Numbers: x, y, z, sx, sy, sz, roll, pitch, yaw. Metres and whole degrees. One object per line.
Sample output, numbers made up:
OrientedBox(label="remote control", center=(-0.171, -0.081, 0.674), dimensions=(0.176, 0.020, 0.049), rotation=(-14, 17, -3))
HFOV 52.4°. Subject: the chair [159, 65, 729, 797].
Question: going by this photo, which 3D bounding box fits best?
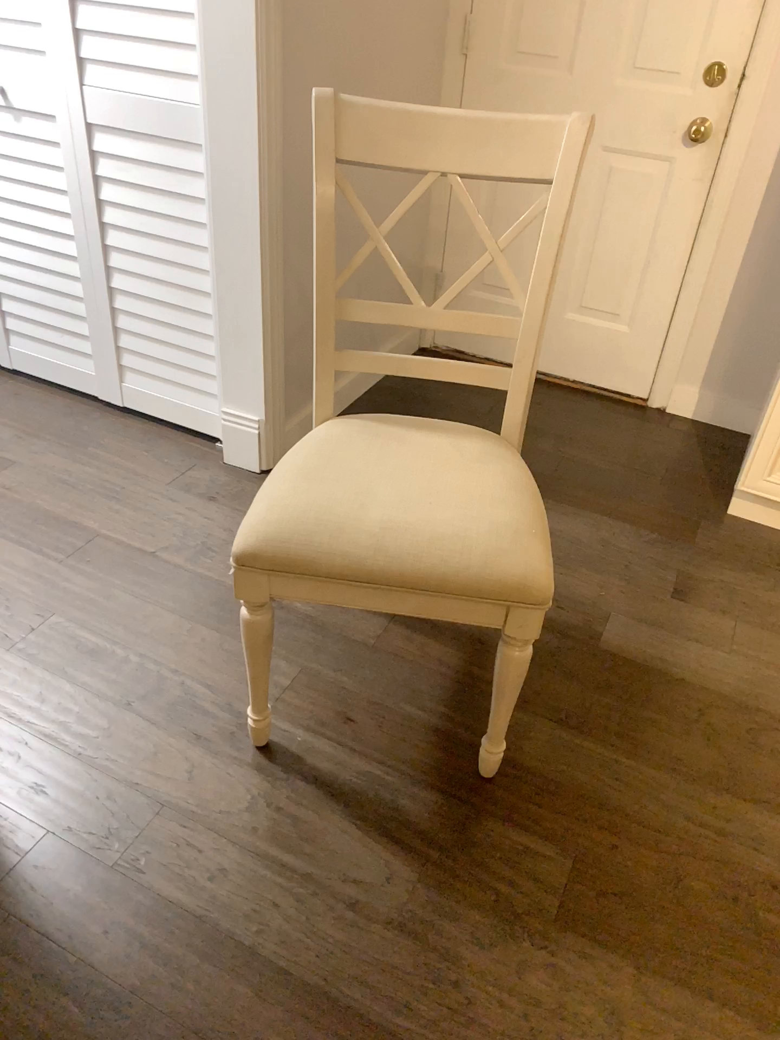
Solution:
OrientedBox(label="chair", center=(0.046, -0.141, 1.338), dimensions=(0.580, 0.994, 0.614), rotation=(7, 35, 3))
